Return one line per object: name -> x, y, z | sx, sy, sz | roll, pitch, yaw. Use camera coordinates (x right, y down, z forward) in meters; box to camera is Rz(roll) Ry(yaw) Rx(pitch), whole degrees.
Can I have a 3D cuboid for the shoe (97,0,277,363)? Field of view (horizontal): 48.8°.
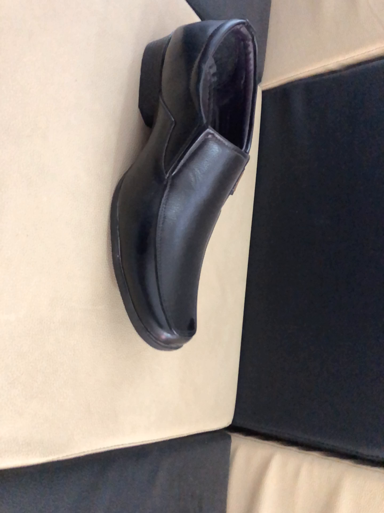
shoe -> 0.005, -0.061, 0.369 | 0.101, 0.089, 0.290 | 19, 72, -51
